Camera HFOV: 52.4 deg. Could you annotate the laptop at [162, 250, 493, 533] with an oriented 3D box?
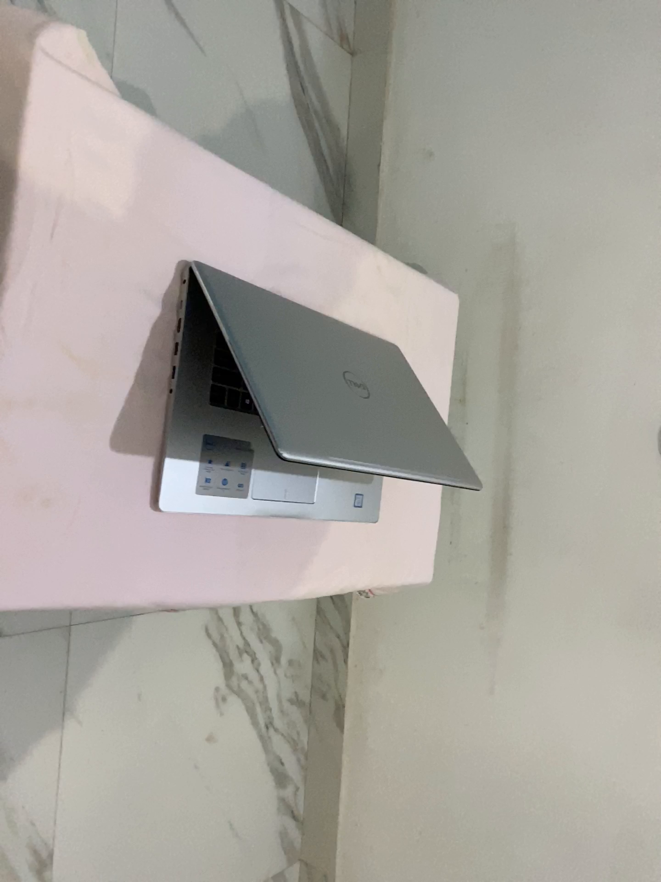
[{"bbox_3d":[0.020,-0.027,0.730,0.349,0.148,0.234,9,84,-50],"label":"laptop"}]
